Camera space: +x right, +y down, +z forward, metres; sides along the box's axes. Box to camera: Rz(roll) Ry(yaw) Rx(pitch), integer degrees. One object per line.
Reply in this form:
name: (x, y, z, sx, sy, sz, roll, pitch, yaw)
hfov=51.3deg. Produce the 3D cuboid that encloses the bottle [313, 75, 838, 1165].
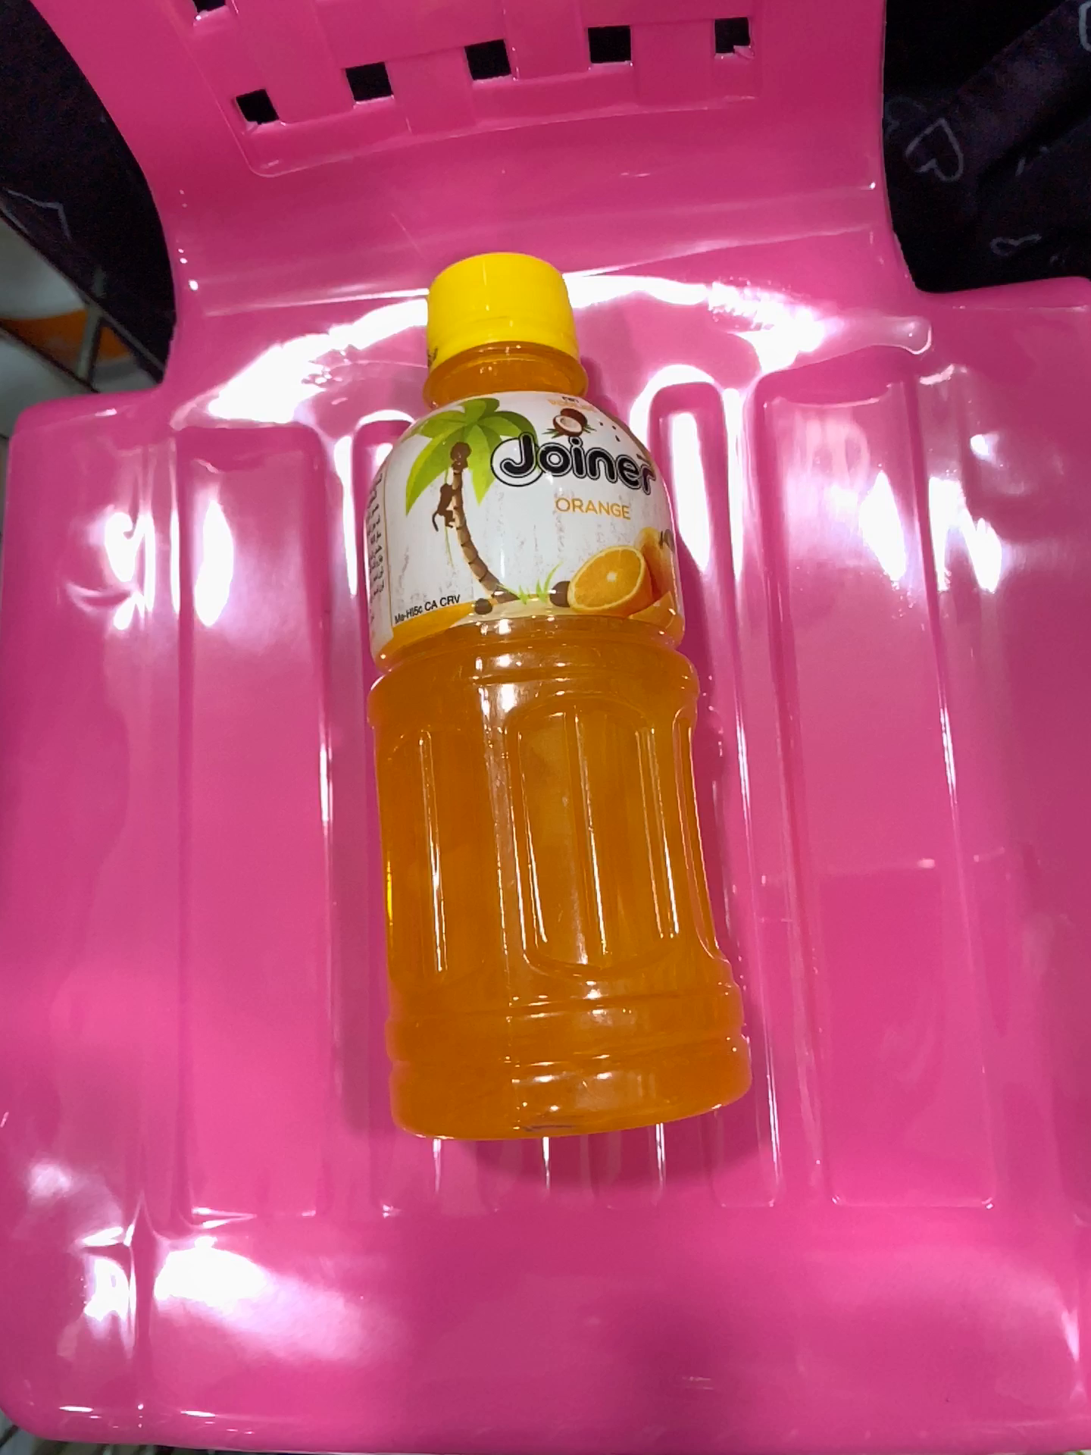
bottle: (-0.002, -0.019, 0.210, 0.070, 0.060, 0.170, -3, 82, -14)
